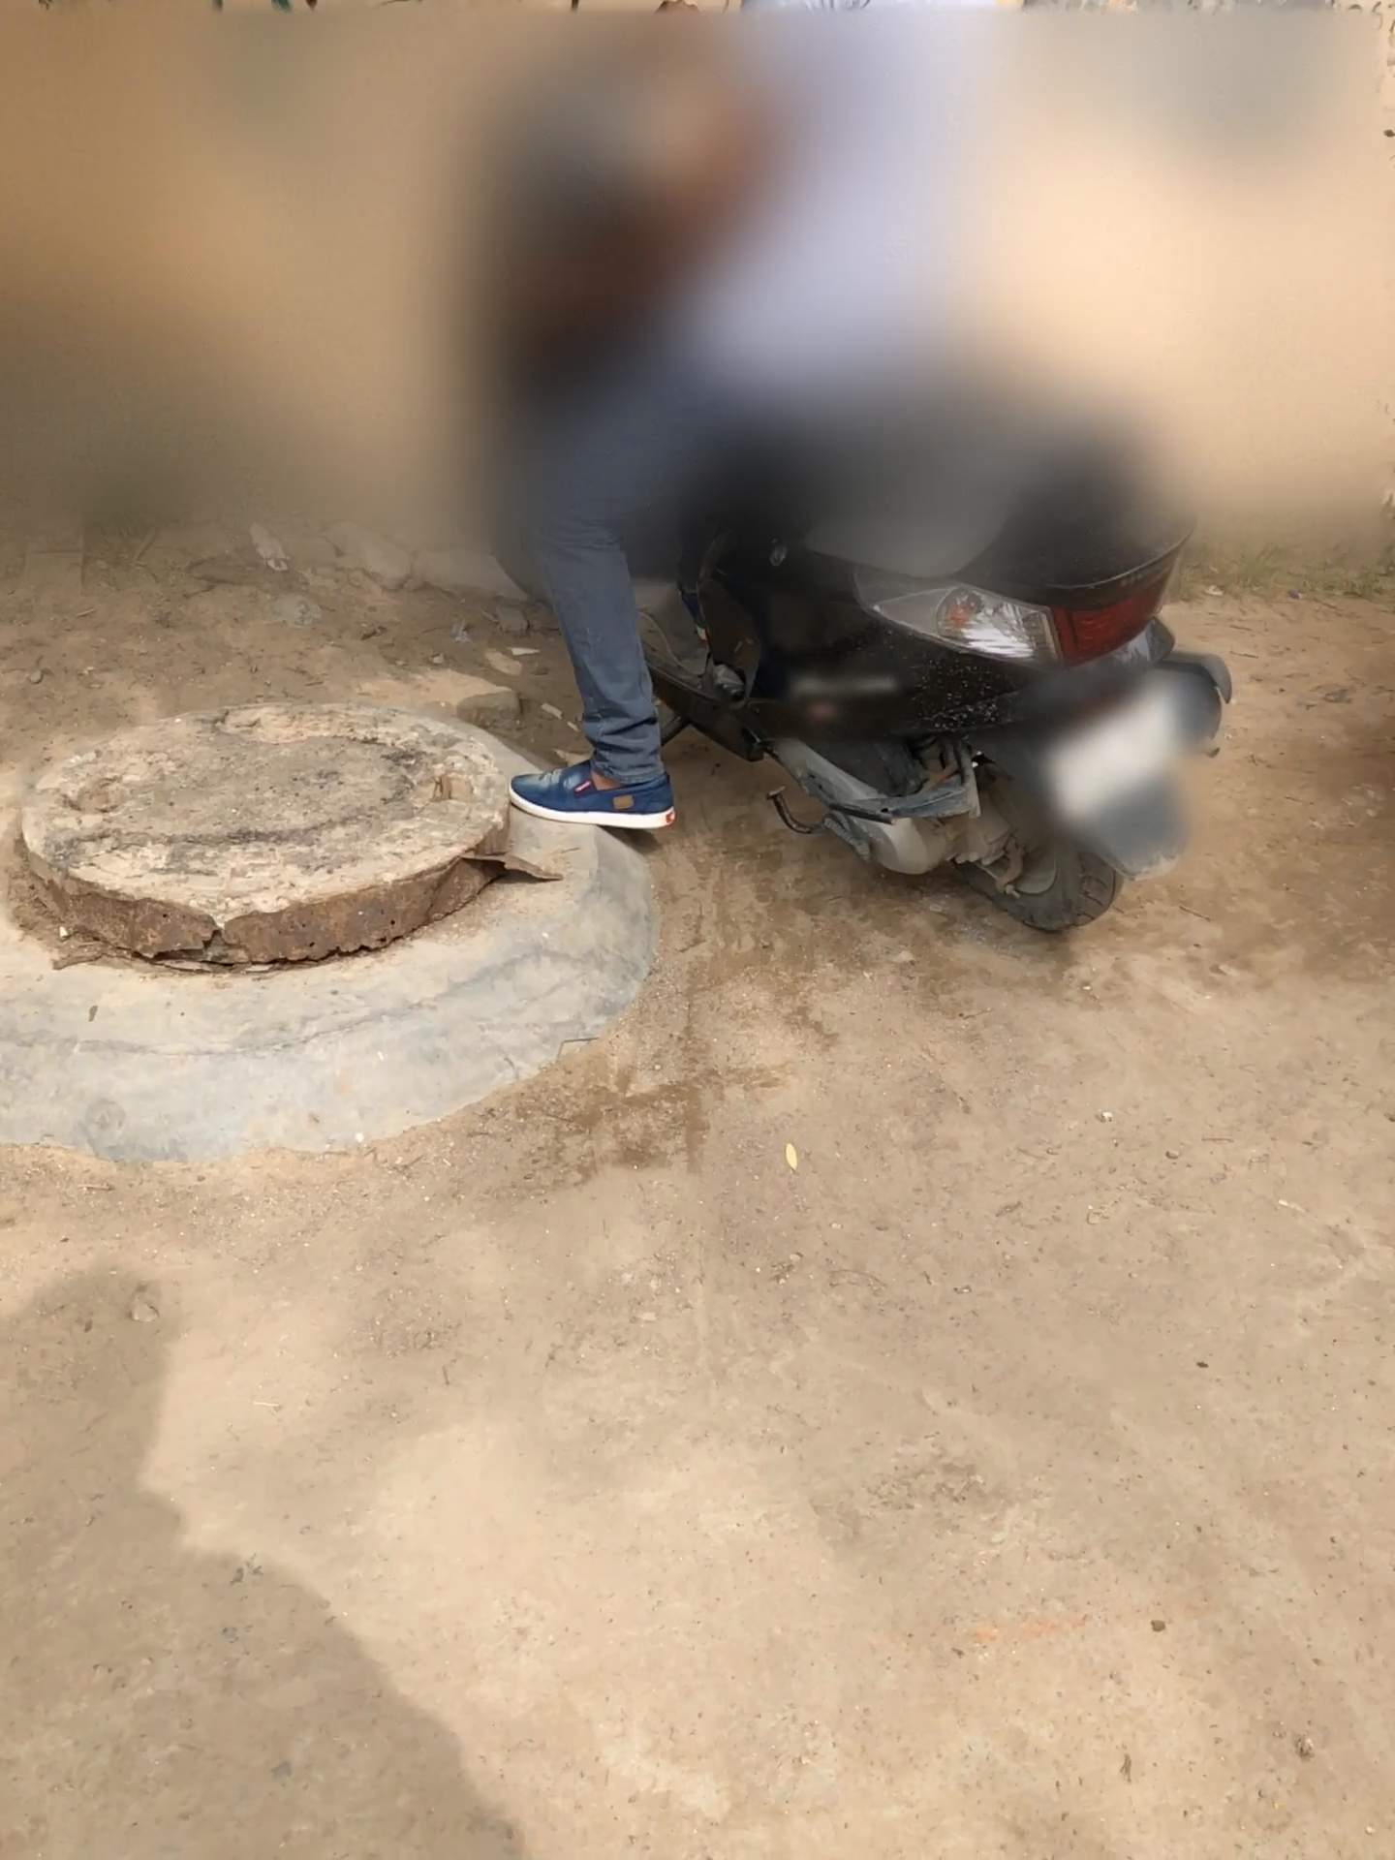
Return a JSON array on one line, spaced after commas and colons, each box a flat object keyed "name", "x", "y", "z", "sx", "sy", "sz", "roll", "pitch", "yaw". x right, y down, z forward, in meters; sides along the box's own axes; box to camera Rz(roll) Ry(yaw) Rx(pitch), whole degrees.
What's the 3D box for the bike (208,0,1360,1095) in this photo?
[{"name": "bike", "x": -0.032, "y": -0.781, "z": 2.430, "sx": 0.655, "sy": 1.228, "sz": 1.654, "roll": -20, "pitch": 39, "yaw": -35}]
